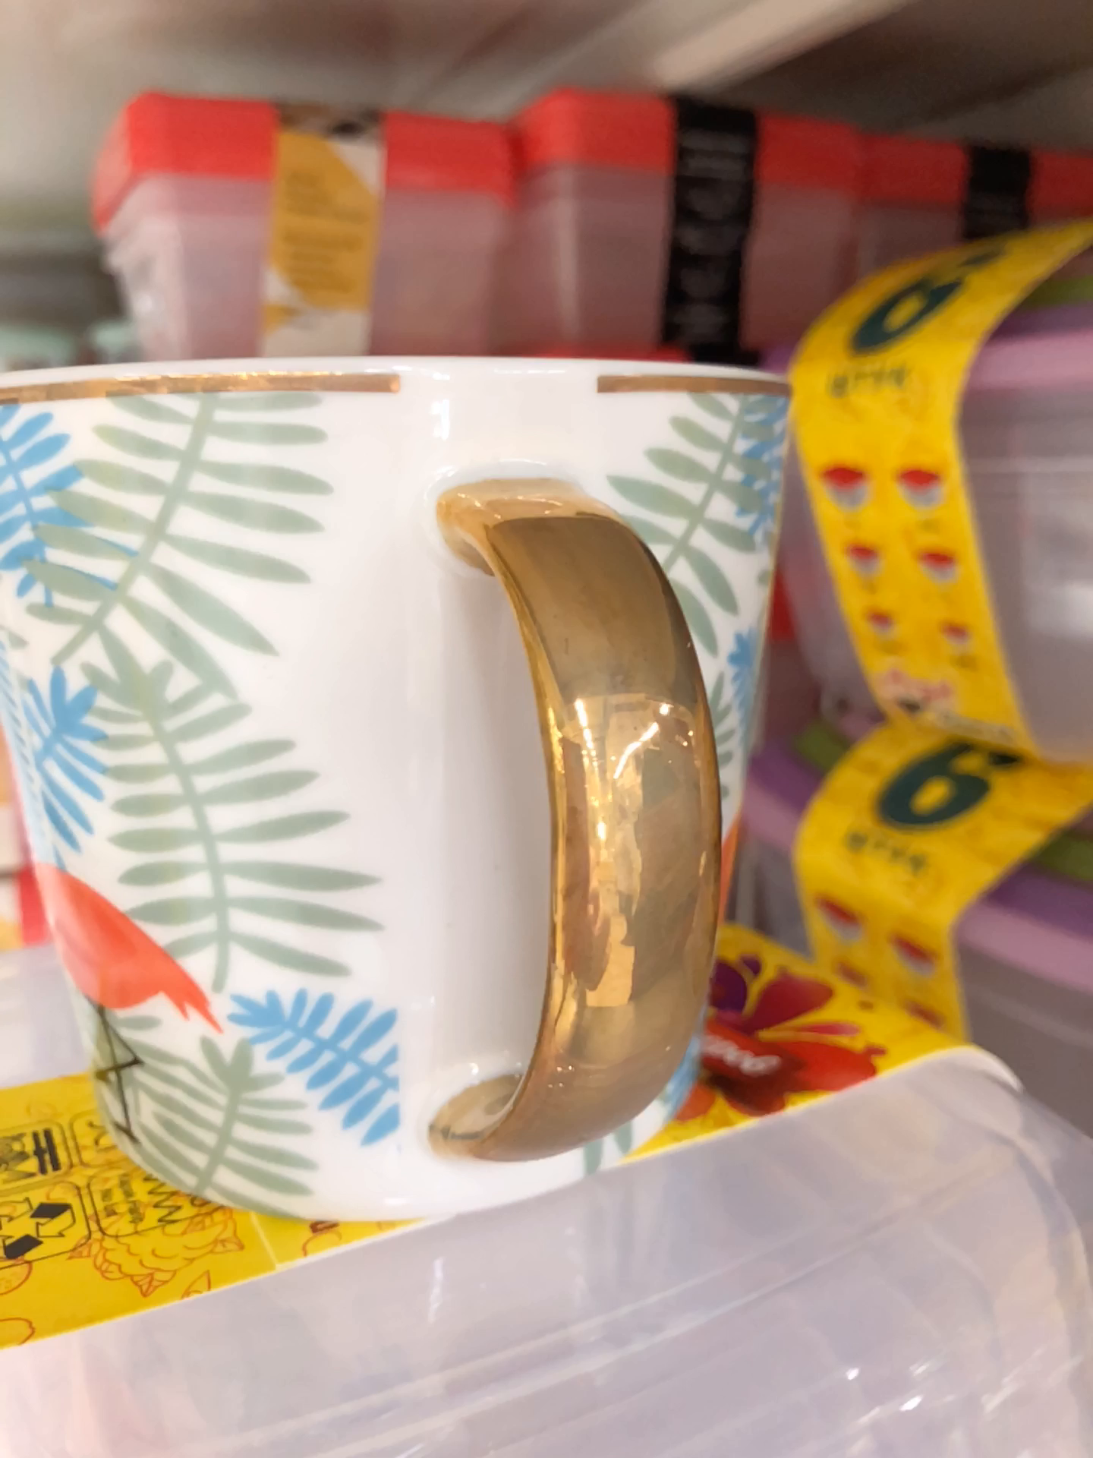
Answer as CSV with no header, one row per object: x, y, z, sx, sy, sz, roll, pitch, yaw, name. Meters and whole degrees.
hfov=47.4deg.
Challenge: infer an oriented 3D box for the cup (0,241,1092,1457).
-0.015,-0.003,0.159,0.102,0.085,0.128,-10,14,-37,cup
